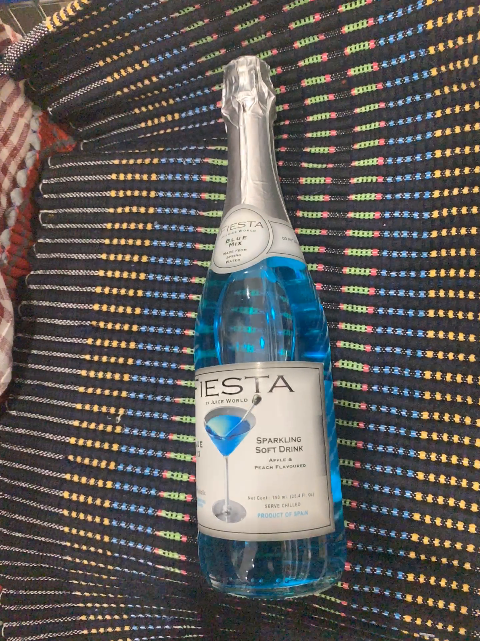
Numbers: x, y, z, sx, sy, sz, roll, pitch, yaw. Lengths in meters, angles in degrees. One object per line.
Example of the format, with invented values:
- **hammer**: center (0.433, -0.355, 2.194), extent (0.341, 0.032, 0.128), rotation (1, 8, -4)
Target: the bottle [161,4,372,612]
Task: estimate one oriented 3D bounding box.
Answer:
- **bottle**: center (0.015, -0.013, 0.307), extent (0.080, 0.100, 0.310), rotation (-9, 76, 29)
